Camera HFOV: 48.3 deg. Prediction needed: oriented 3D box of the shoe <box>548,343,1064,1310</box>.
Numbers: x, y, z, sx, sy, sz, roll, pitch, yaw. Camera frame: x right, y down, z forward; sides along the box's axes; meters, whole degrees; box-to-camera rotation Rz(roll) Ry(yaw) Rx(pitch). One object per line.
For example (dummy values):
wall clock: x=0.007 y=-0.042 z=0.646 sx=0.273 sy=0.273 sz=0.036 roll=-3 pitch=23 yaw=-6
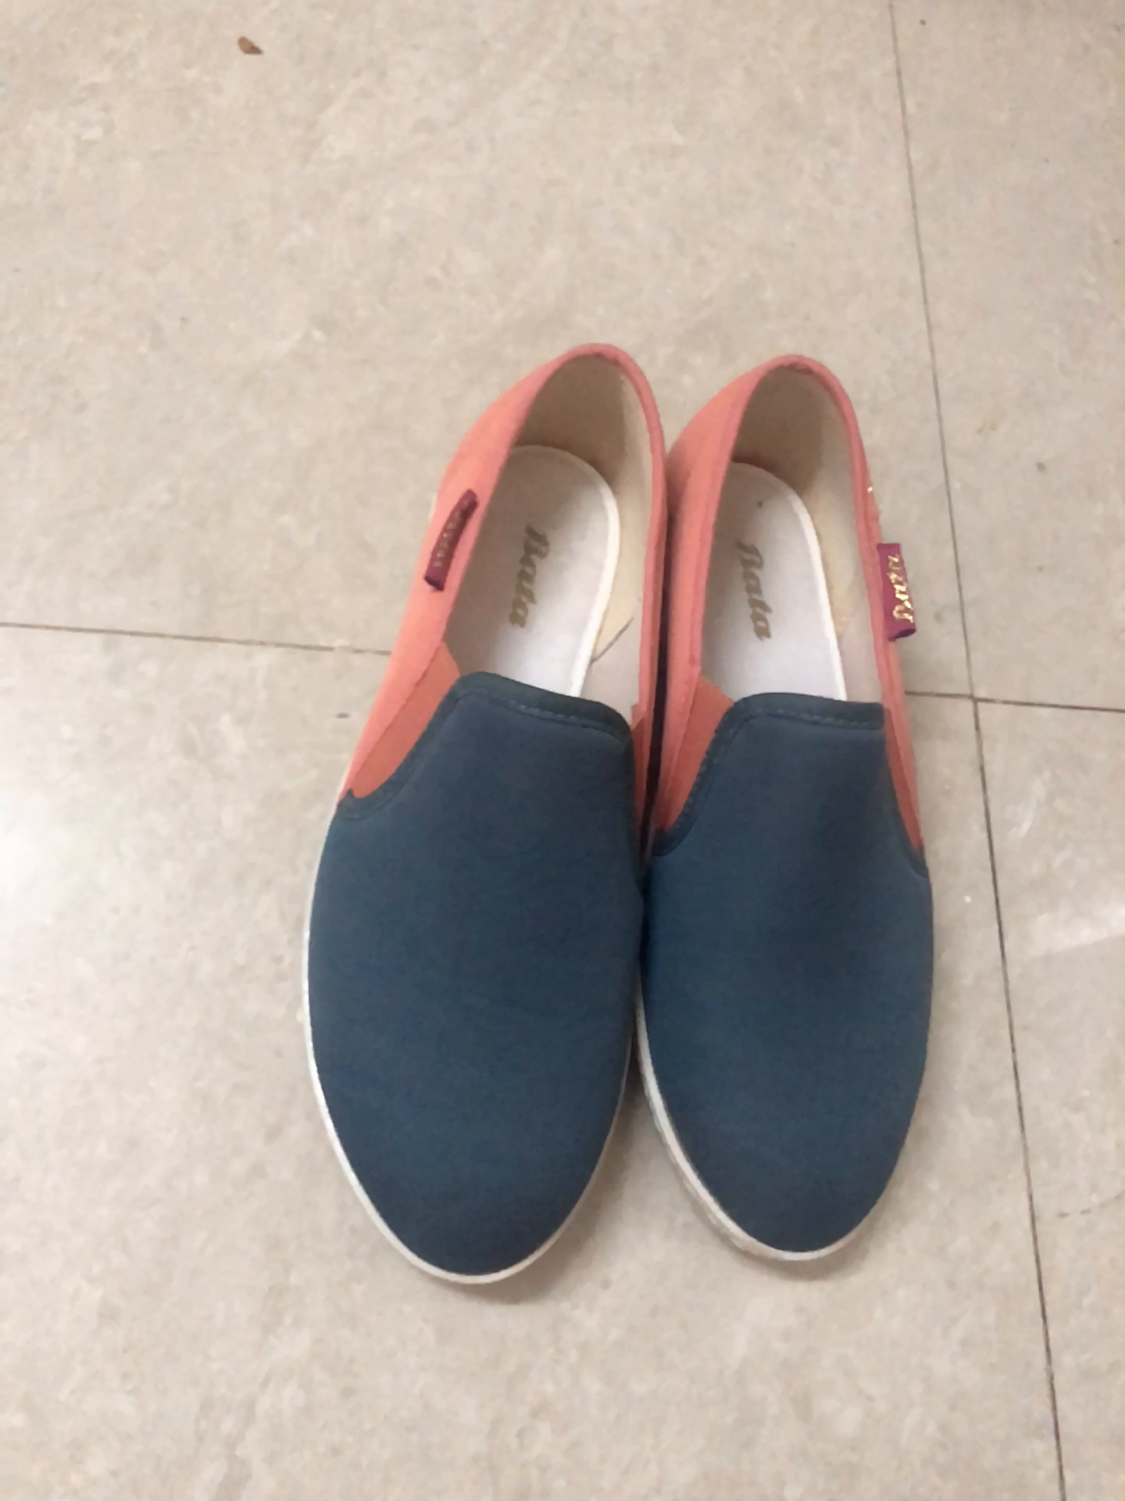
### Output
shoe: x=0.050 y=0.014 z=0.315 sx=0.090 sy=0.060 sz=0.221 roll=2 pitch=72 yaw=-13

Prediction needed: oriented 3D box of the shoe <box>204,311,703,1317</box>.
shoe: x=-0.022 y=0.012 z=0.305 sx=0.090 sy=0.060 sz=0.221 roll=8 pitch=70 yaw=-10
